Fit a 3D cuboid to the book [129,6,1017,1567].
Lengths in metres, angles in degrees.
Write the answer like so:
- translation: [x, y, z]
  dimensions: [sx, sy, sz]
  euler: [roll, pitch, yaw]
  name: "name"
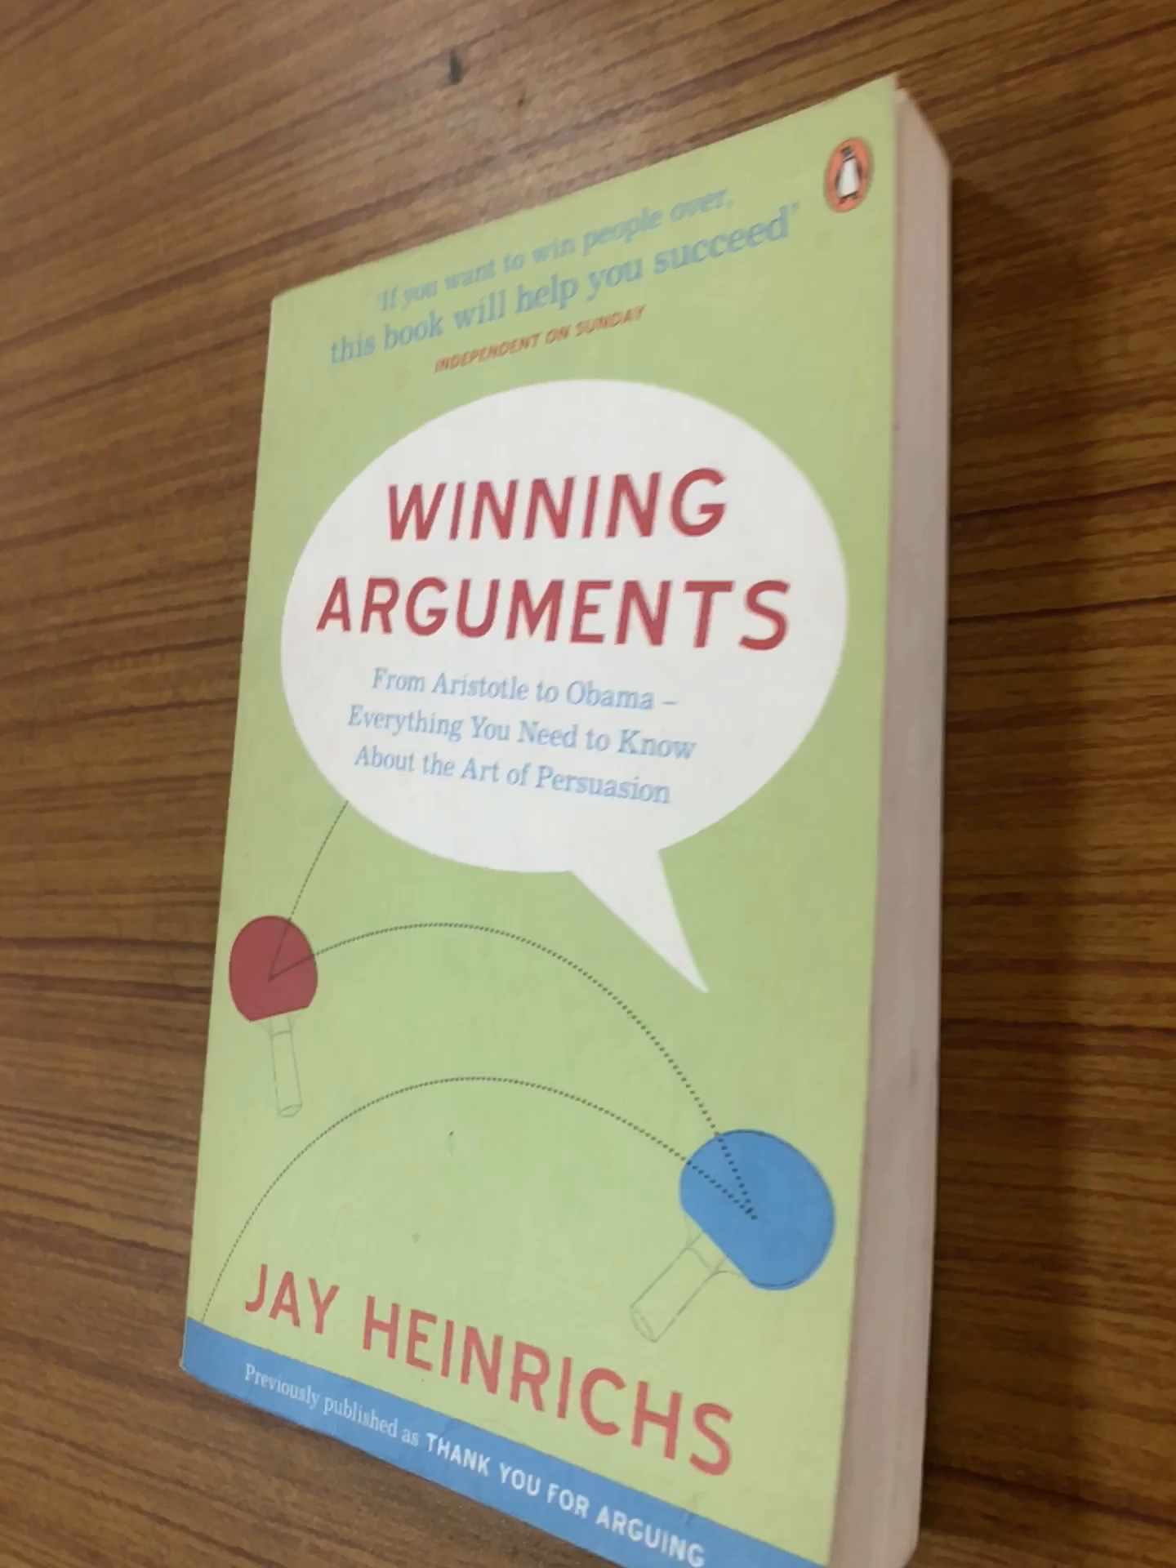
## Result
- translation: [-0.009, 0.006, 0.214]
  dimensions: [0.141, 0.030, 0.210]
  euler: [-1, 83, 35]
  name: "book"
